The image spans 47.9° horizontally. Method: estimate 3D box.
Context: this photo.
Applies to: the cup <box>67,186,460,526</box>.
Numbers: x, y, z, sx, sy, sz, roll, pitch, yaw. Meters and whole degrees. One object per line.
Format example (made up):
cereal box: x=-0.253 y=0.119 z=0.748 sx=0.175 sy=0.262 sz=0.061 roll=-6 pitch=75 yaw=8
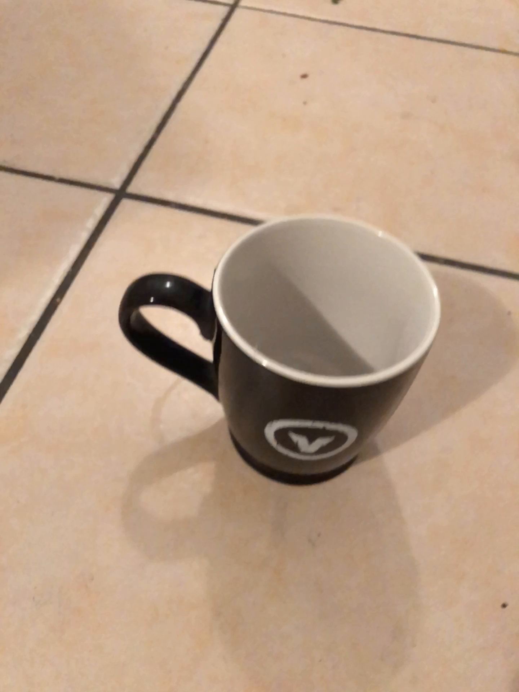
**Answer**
cup: x=0.004 y=0.007 z=0.276 sx=0.140 sy=0.100 sz=0.101 roll=9 pitch=52 yaw=2
